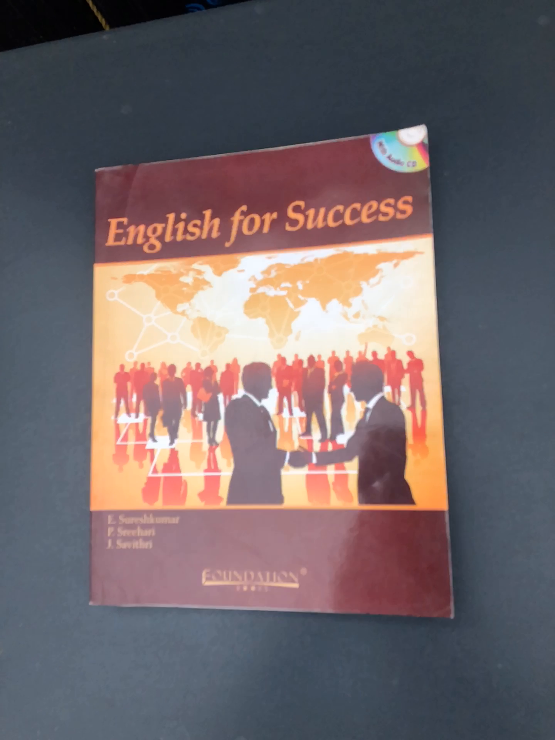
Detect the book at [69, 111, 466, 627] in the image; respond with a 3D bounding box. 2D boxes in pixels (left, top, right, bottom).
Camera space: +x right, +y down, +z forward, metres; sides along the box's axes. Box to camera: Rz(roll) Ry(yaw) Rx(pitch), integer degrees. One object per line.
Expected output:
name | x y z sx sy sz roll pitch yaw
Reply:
book | -0.011 0.000 0.316 0.190 0.030 0.240 -3 82 12
